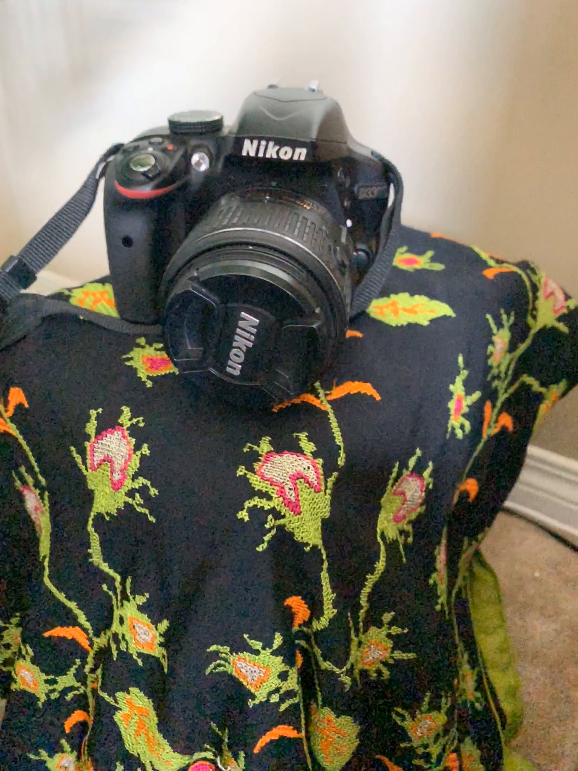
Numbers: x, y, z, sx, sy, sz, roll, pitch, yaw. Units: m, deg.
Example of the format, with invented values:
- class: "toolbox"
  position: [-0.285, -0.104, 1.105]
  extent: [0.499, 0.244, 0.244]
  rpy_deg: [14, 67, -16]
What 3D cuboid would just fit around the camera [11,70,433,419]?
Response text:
- class: "camera"
  position: [-0.018, -0.059, 0.236]
  extent: [0.120, 0.099, 0.091]
  rpy_deg: [5, 34, 2]
